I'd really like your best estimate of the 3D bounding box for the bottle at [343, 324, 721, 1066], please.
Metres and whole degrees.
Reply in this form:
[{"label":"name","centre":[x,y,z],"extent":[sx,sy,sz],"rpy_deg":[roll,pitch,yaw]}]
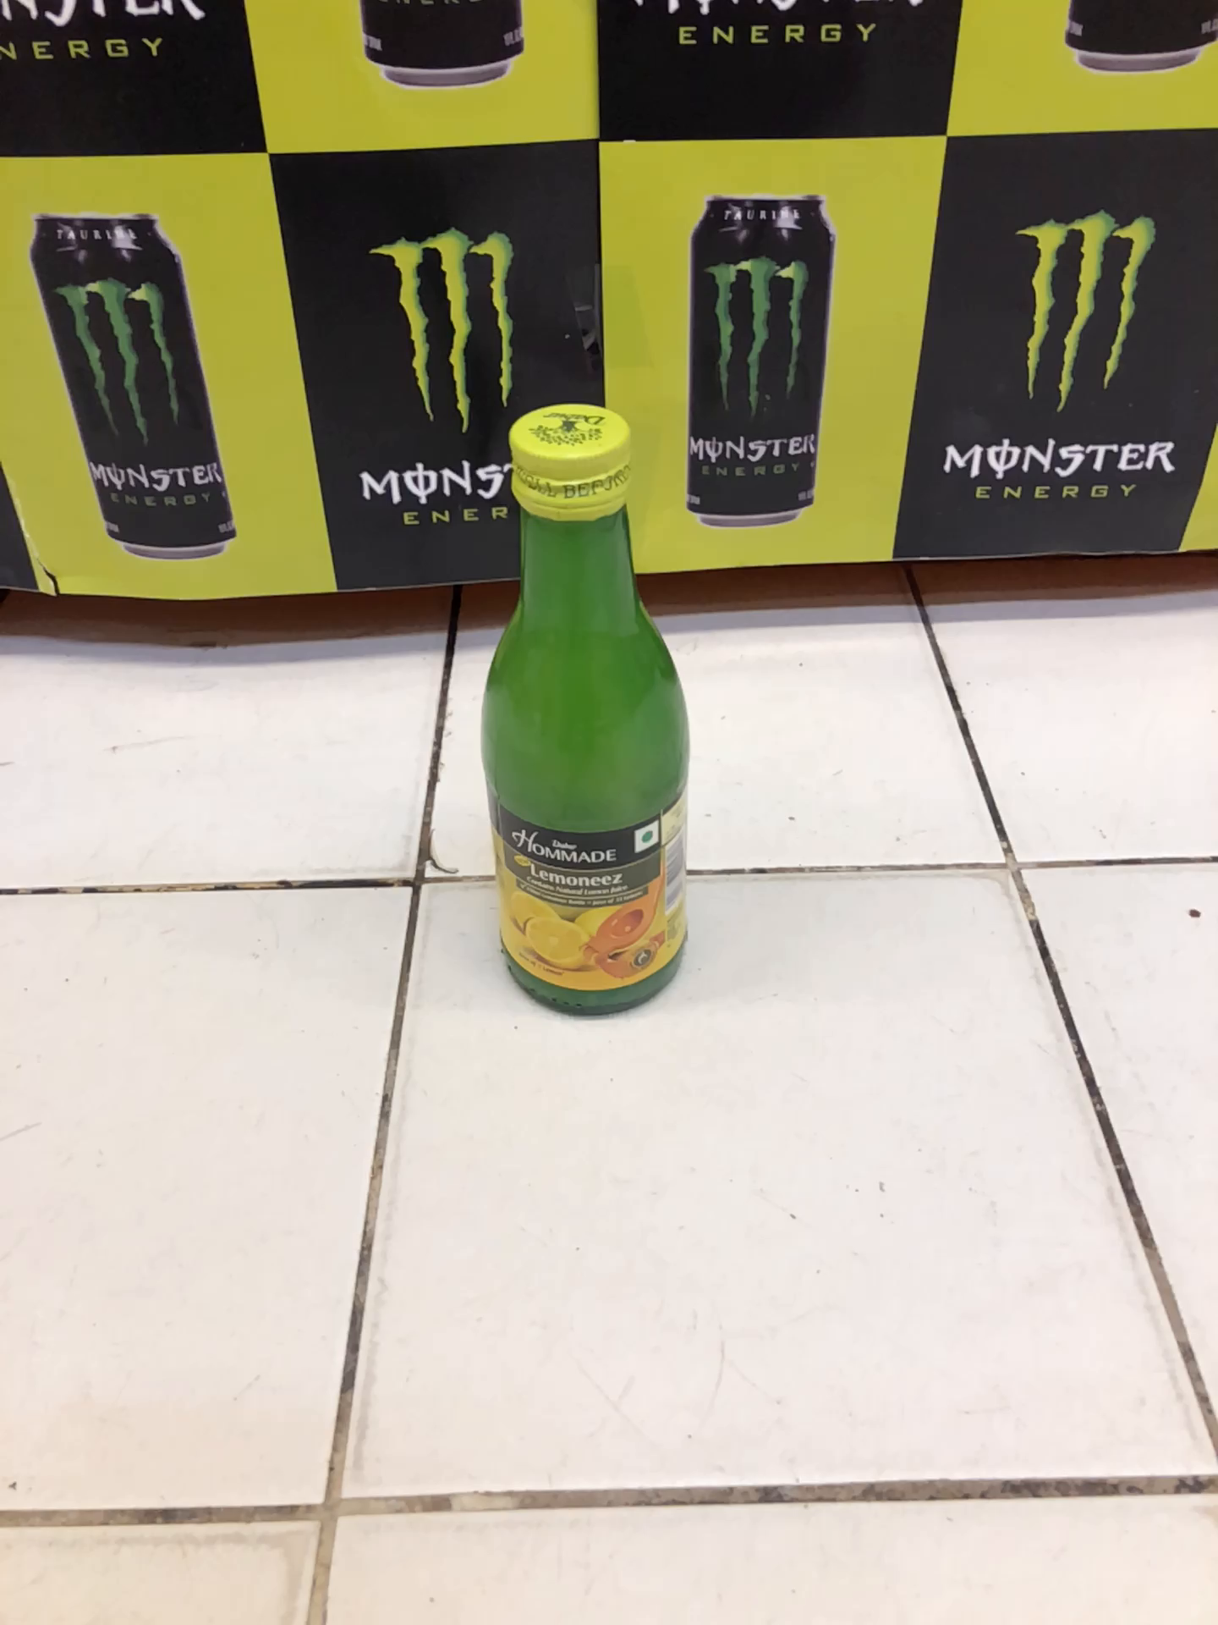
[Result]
[{"label":"bottle","centre":[-0.014,-0.024,0.354],"extent":[0.070,0.179,0.070],"rpy_deg":[0,39,0]}]
